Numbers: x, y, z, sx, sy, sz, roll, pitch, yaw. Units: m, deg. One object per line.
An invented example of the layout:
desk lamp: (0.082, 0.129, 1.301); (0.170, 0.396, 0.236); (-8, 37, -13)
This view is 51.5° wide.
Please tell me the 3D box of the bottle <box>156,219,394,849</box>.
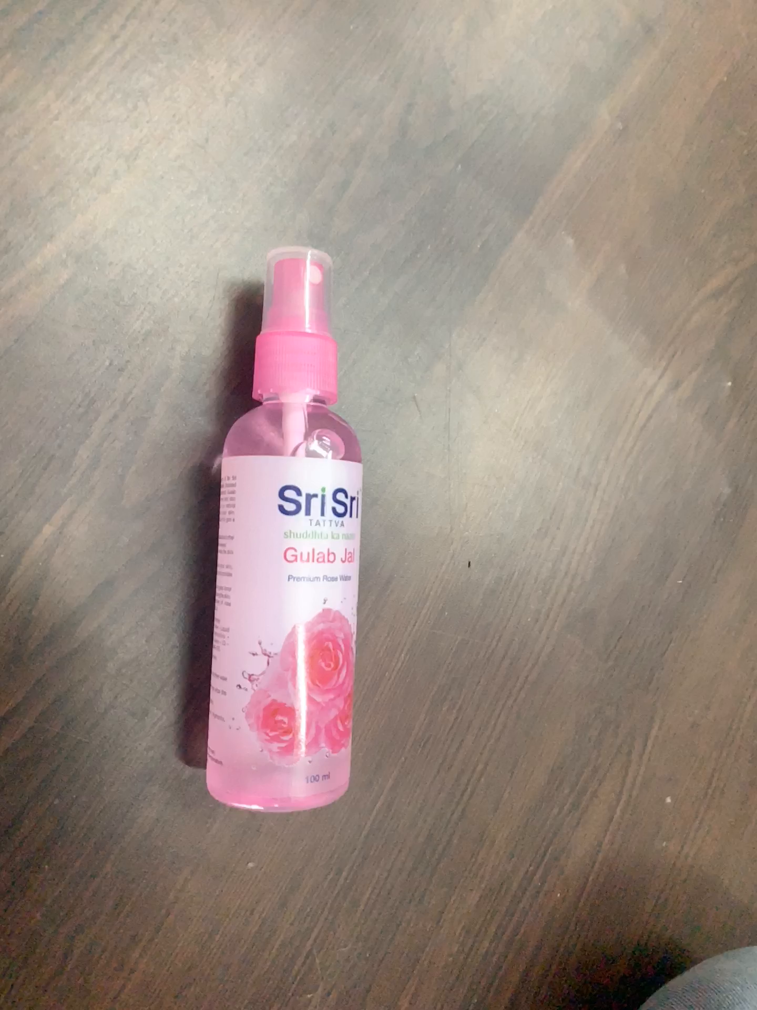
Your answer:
bottle: (-0.027, 0.007, 0.201); (0.040, 0.040, 0.140); (4, 88, -28)
